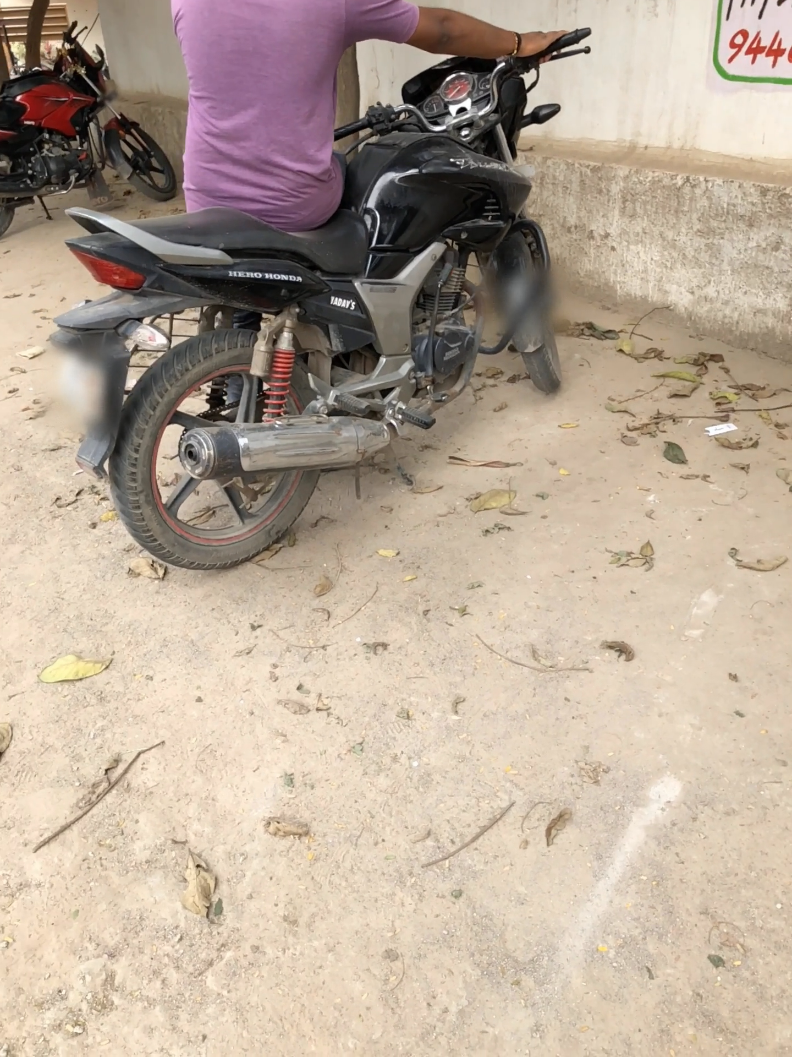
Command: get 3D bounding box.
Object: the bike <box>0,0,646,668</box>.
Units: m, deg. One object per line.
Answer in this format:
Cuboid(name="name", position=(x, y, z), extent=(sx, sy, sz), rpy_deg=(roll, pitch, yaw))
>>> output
Cuboid(name="bike", position=(-0.074, -0.794, 2.494), extent=(0.824, 1.190, 1.849), rpy_deg=(18, 39, 33))
